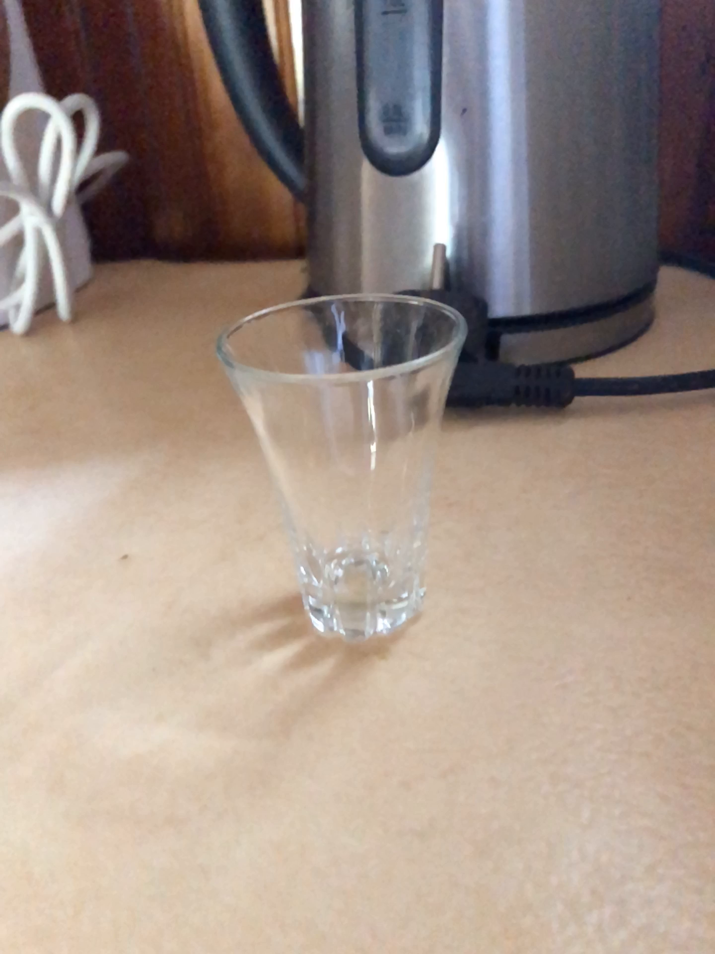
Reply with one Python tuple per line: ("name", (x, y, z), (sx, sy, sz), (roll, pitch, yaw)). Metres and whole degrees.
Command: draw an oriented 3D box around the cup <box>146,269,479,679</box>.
("cup", (-0.005, -0.004, 0.181), (0.050, 0.070, 0.050), (-3, 29, 2))
